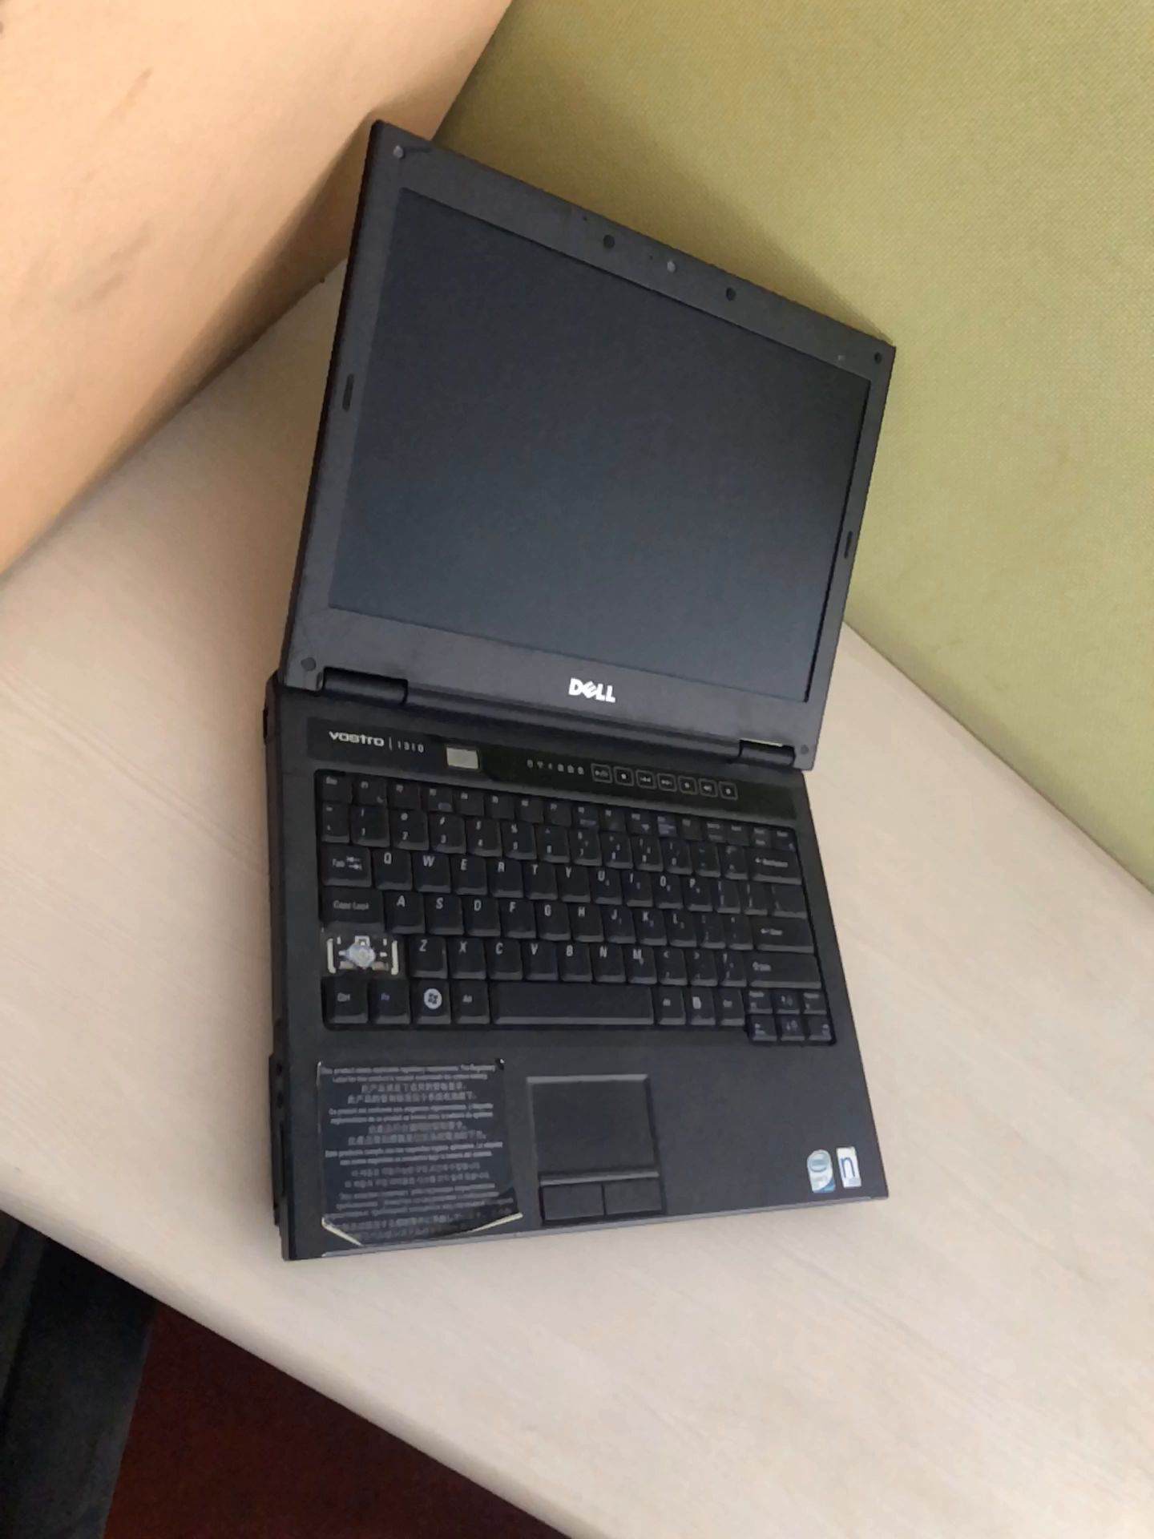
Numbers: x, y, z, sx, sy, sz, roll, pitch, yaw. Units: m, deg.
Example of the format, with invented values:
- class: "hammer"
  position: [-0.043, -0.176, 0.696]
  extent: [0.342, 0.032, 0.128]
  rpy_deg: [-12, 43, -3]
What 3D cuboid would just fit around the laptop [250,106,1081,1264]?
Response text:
- class: "laptop"
  position: [0.028, -0.033, 0.573]
  extent: [0.306, 0.125, 0.431]
  rpy_deg: [8, 64, -34]
